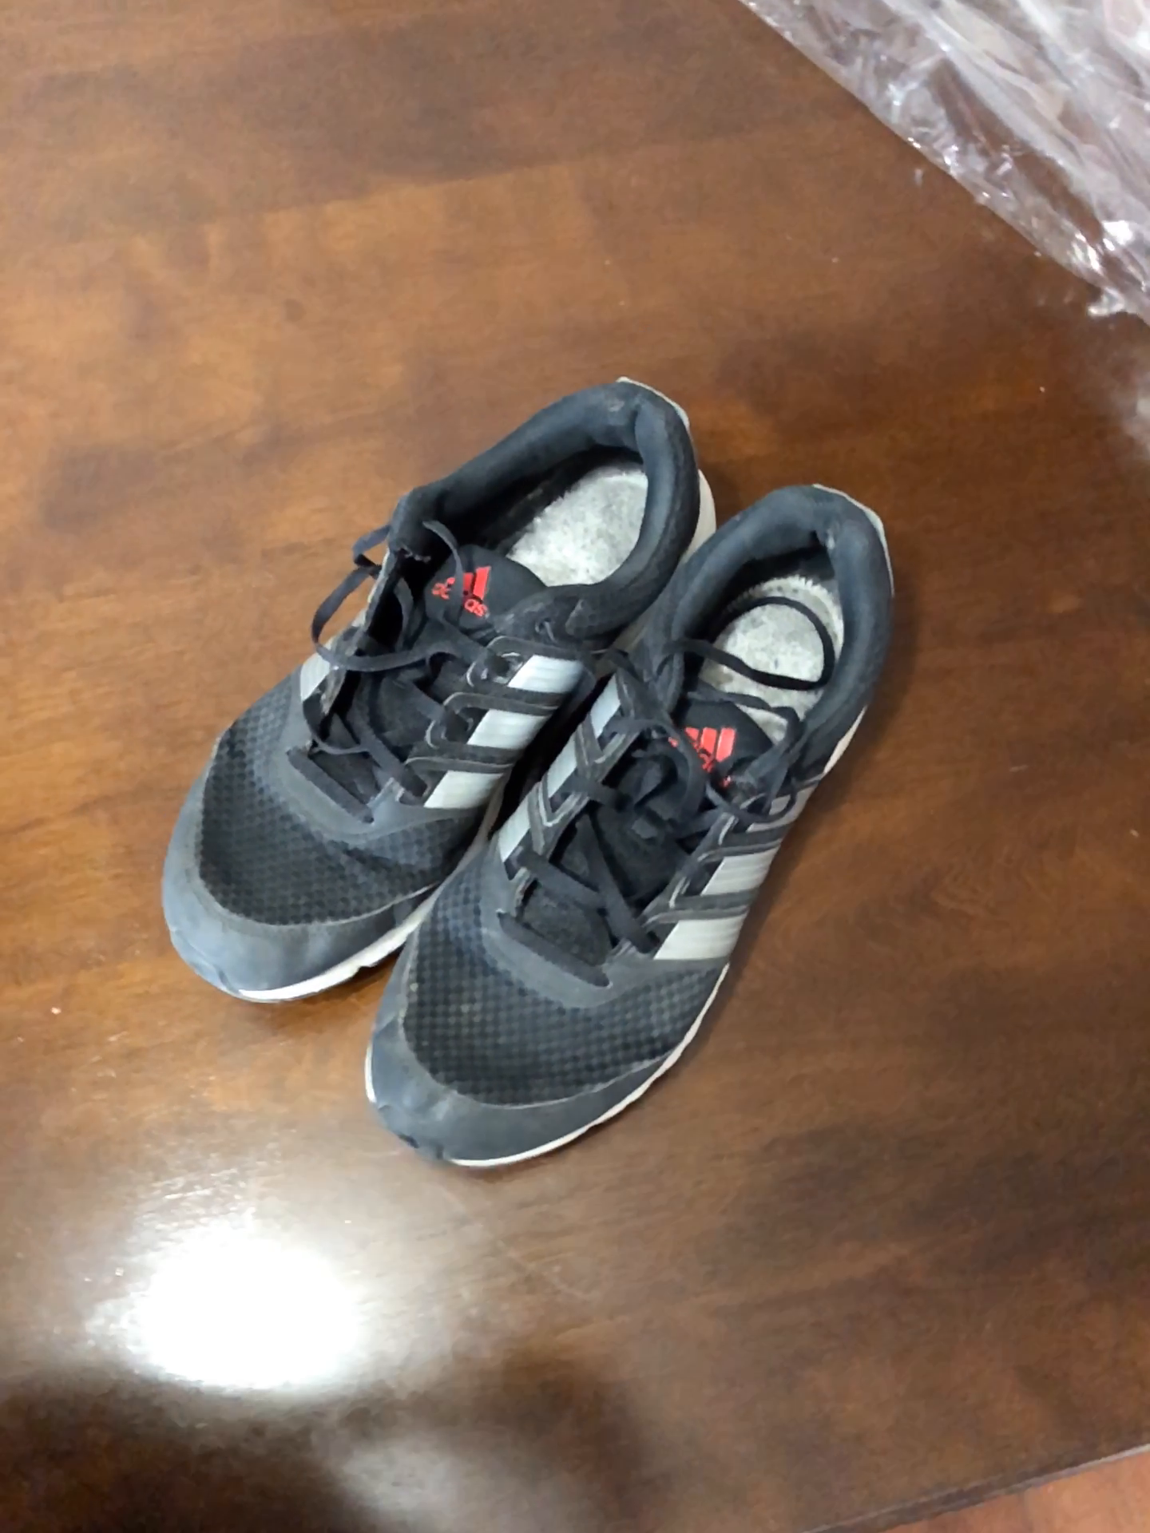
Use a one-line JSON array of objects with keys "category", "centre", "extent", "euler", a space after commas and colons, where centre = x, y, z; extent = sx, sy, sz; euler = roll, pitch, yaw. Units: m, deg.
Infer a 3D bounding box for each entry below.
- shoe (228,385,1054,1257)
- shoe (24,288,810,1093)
[{"category": "shoe", "centre": [0.030, 0.022, 0.478], "extent": [0.120, 0.130, 0.290], "euler": [37, 72, 13]}, {"category": "shoe", "centre": [-0.048, -0.031, 0.512], "extent": [0.120, 0.120, 0.290], "euler": [37, 72, 13]}]
